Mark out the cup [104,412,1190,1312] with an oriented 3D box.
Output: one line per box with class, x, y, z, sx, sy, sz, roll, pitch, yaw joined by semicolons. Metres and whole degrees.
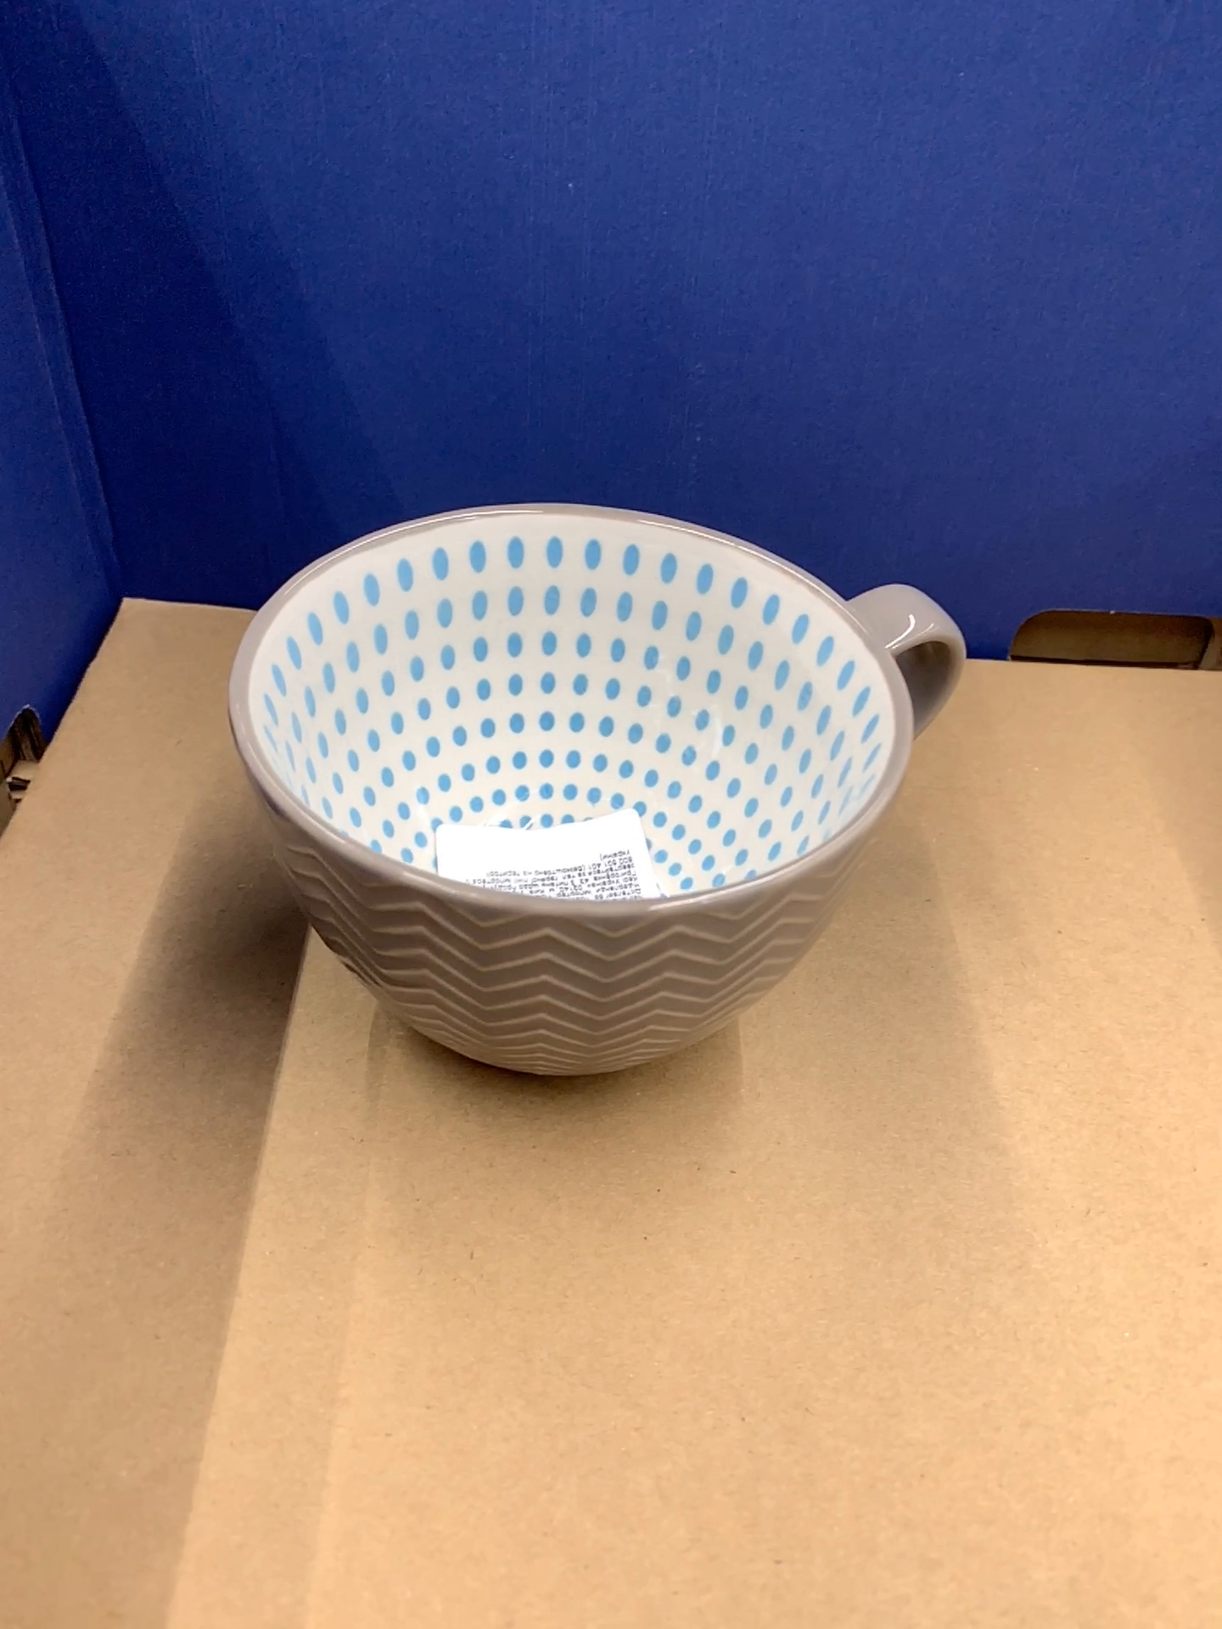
cup;0.005;-0.009;0.236;0.143;0.061;0.119;-26;49;-30
